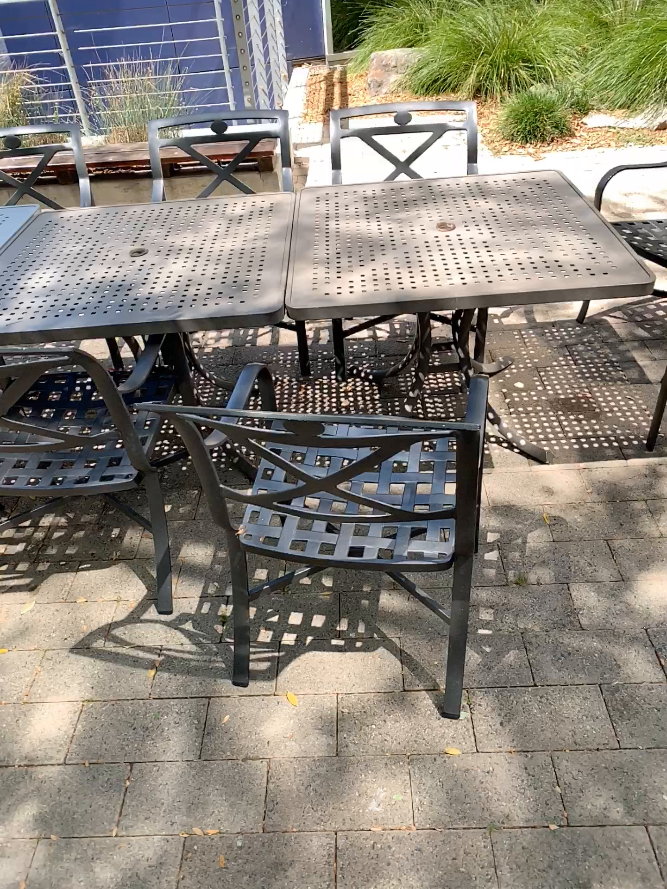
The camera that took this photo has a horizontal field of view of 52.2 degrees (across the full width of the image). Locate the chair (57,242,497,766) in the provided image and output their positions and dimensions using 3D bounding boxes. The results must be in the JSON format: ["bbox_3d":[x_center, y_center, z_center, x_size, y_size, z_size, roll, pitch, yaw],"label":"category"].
[{"bbox_3d":[-0.019,0.119,1.467,0.631,0.884,0.613,5,39,12],"label":"chair"}]
